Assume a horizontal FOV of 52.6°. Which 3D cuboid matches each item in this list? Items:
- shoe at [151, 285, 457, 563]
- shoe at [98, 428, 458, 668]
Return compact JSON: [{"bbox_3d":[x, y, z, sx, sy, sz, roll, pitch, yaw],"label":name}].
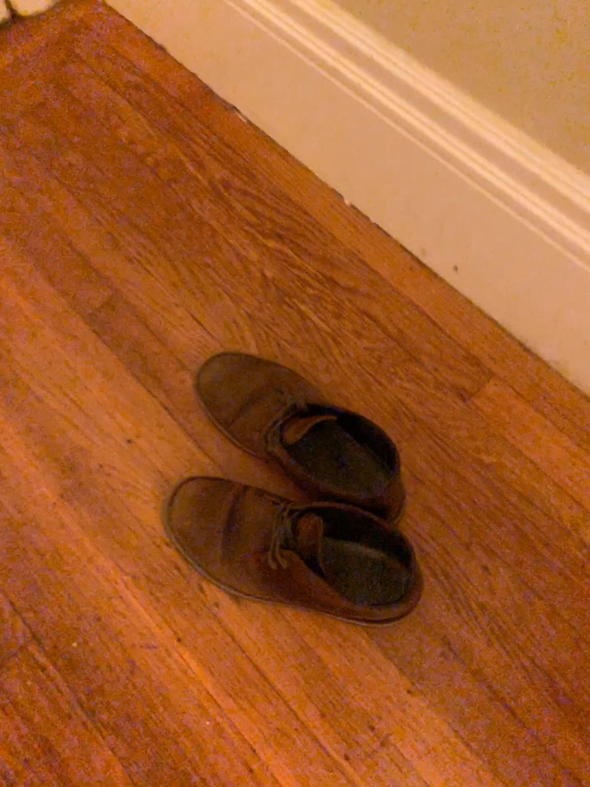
[{"bbox_3d":[0.005,0.033,0.641,0.290,0.120,0.120,37,76,15],"label":"shoe"},{"bbox_3d":[-0.014,0.150,0.588,0.300,0.120,0.120,17,71,9],"label":"shoe"}]
